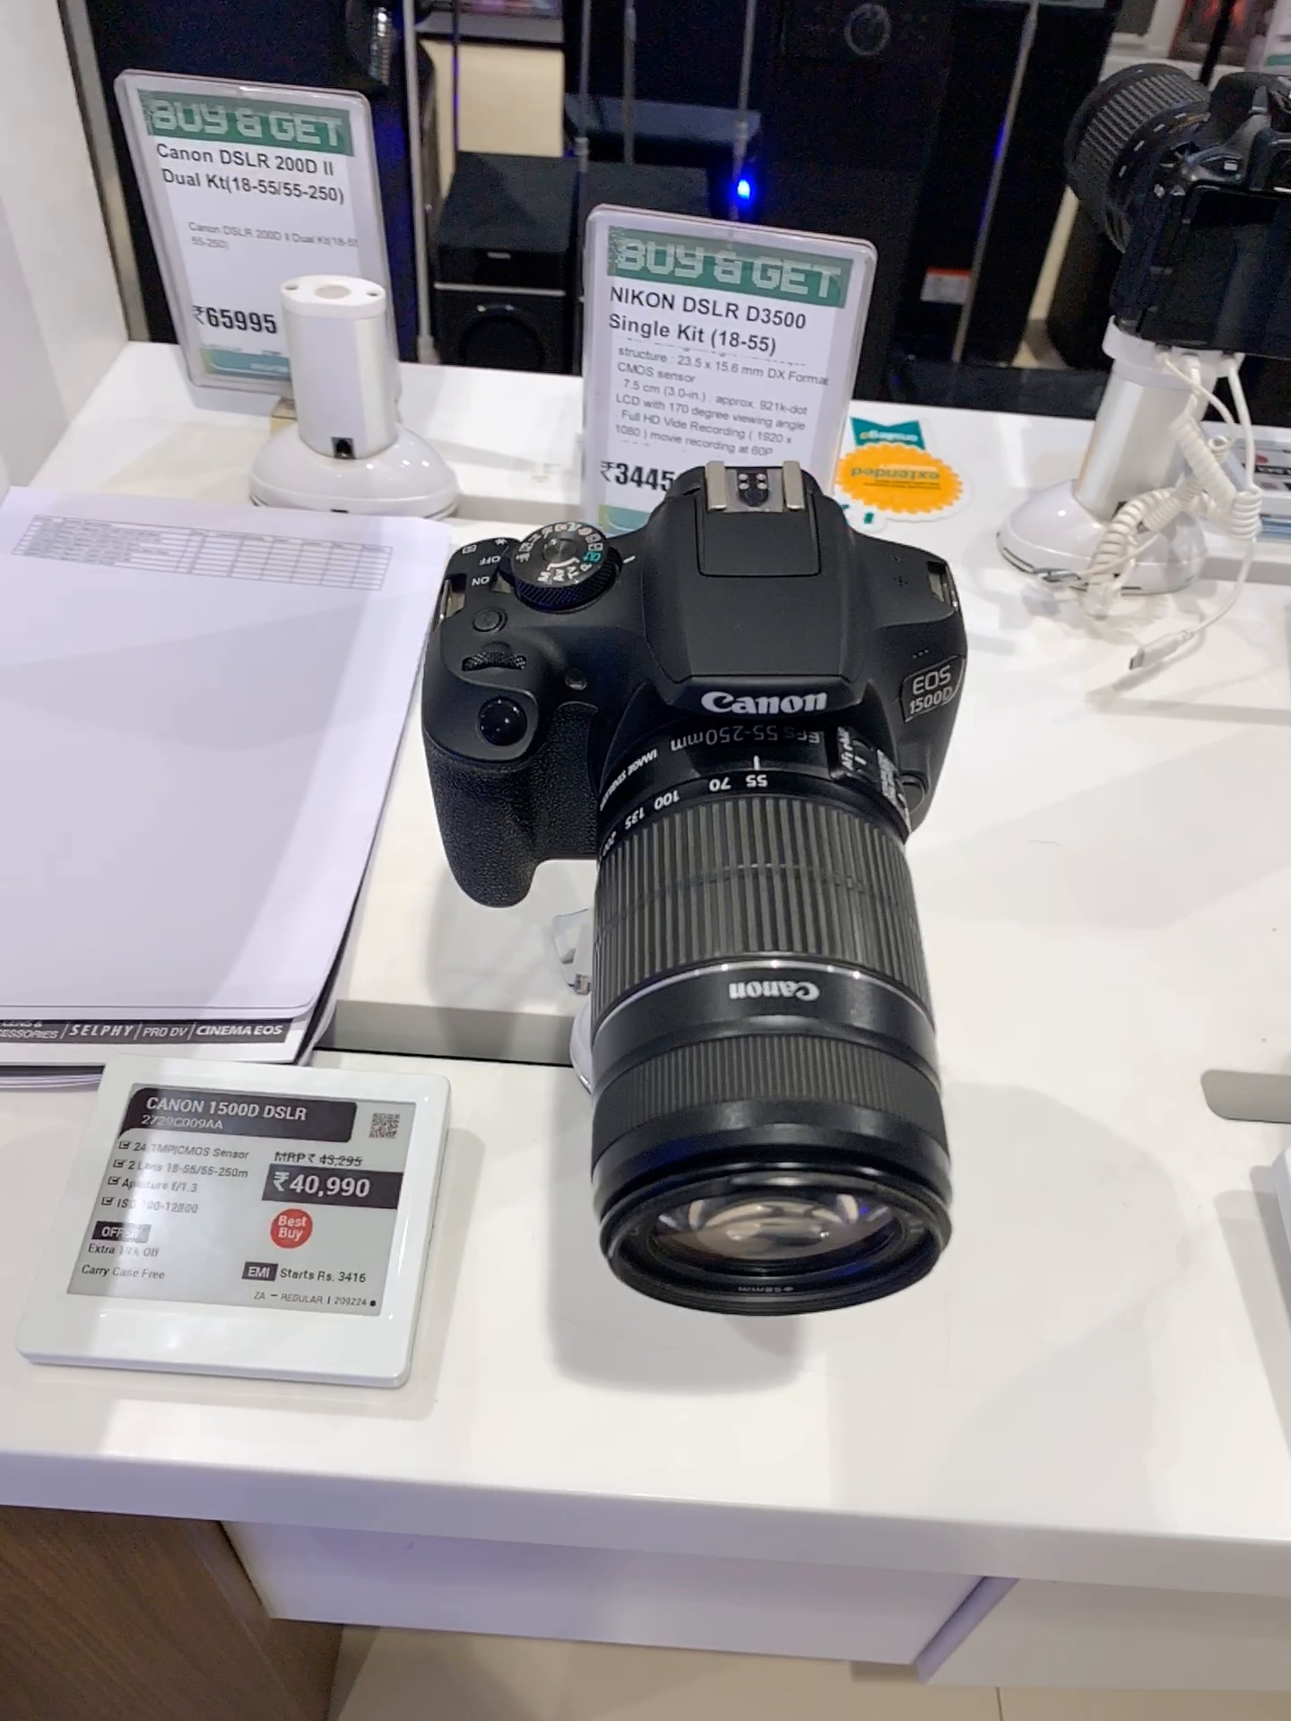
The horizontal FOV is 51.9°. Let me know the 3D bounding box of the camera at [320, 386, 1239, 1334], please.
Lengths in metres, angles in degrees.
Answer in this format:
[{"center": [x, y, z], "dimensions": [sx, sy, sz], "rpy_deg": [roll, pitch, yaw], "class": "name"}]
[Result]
[{"center": [0.017, -0.011, 0.285], "dimensions": [0.130, 0.090, 0.191], "rpy_deg": [1, 47, -2], "class": "camera"}]
